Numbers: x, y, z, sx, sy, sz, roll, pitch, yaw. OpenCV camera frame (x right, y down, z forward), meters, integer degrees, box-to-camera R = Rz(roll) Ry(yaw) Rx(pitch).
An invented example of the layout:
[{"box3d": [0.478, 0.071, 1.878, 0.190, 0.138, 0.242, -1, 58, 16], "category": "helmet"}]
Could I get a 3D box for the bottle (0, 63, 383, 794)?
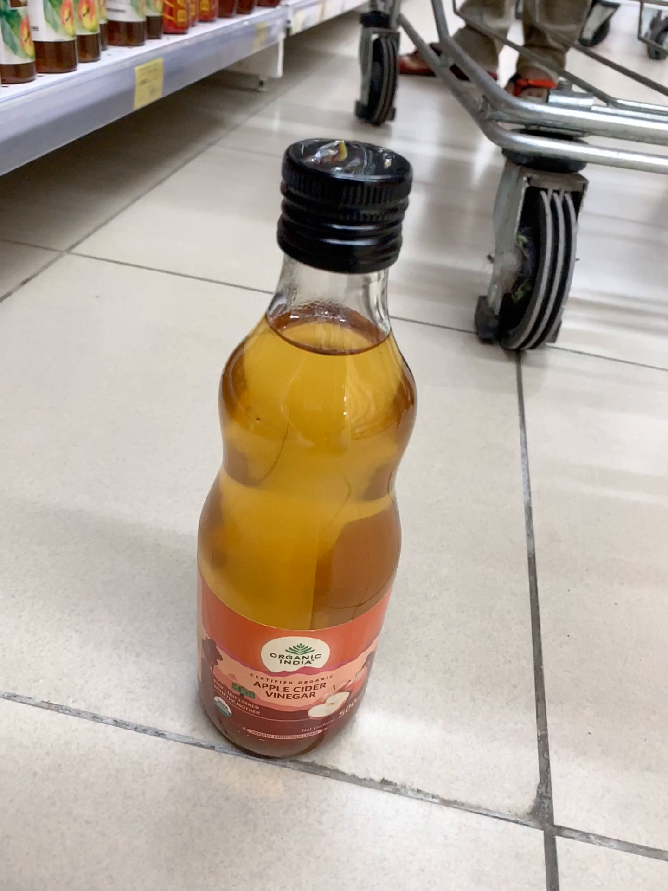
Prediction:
[{"box3d": [-0.044, 0.017, 0.206, 0.080, 0.209, 0.080, 5, 41, -4], "category": "bottle"}]
